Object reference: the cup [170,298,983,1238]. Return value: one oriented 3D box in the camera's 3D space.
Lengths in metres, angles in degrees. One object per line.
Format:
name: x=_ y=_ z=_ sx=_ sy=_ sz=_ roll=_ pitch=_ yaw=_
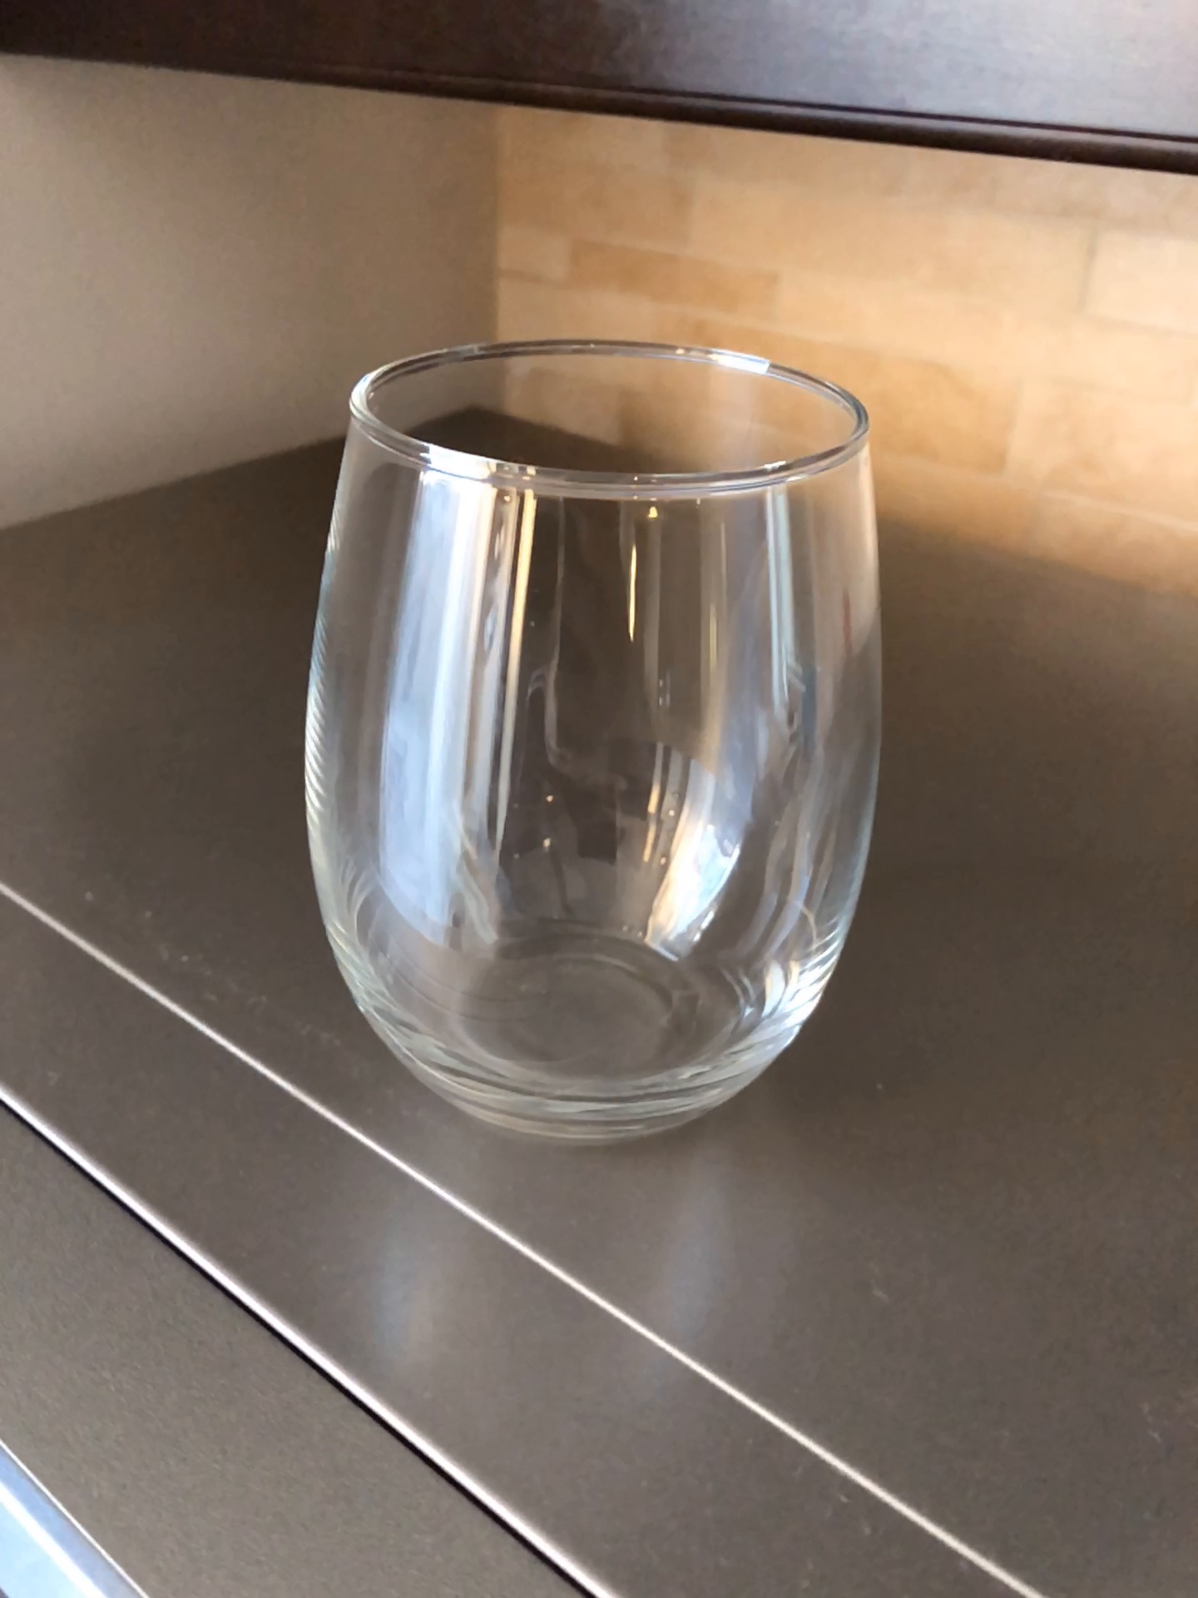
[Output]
cup: x=-0.001 y=-0.012 z=0.211 sx=0.078 sy=0.104 sz=0.083 roll=1 pitch=31 yaw=-1
